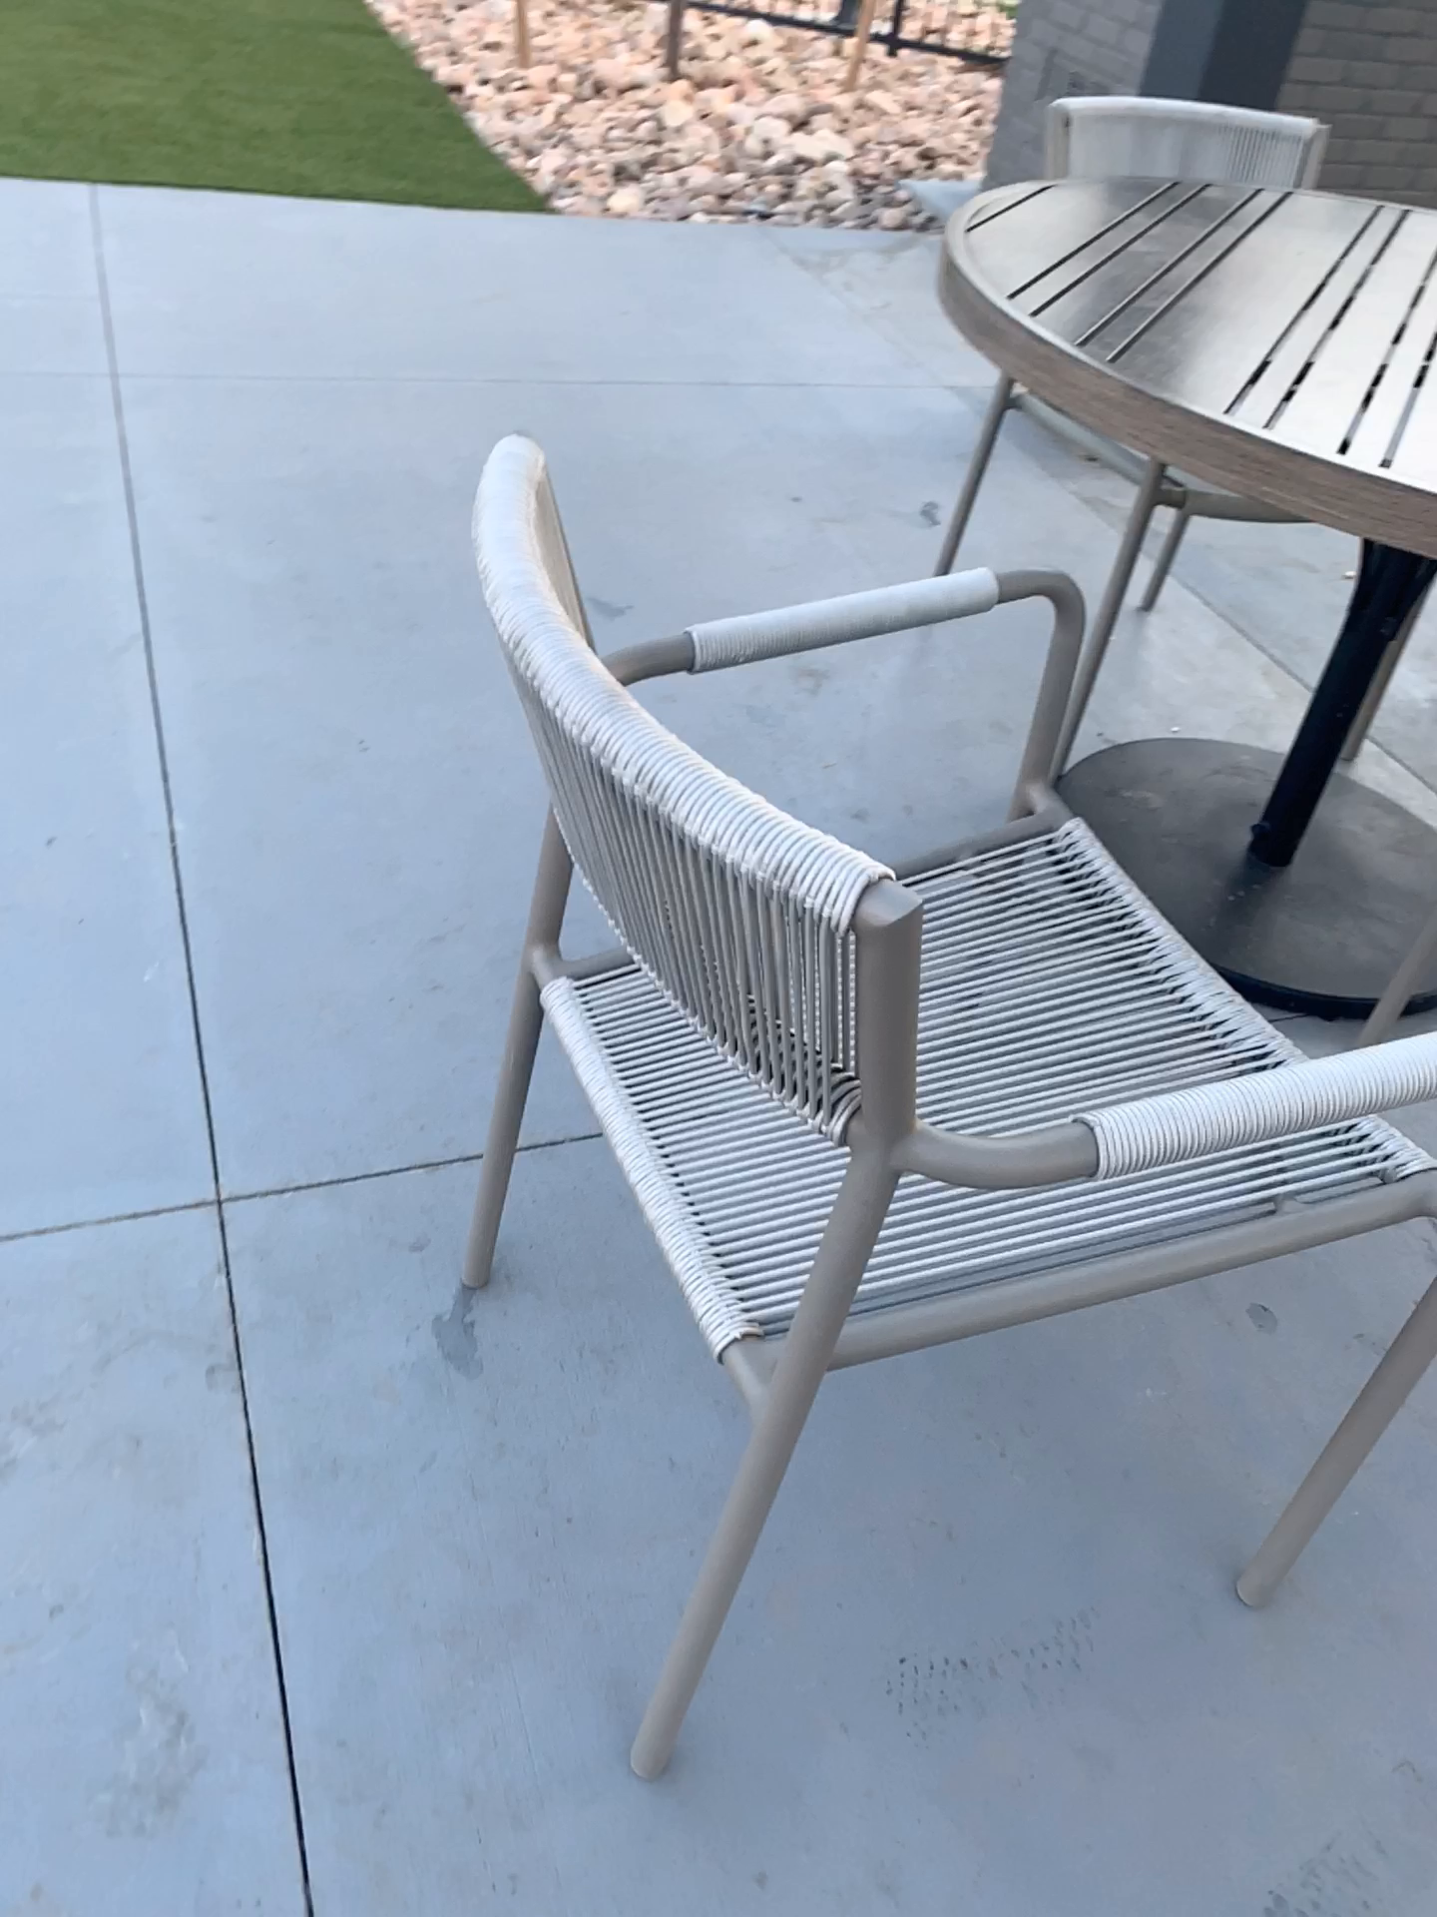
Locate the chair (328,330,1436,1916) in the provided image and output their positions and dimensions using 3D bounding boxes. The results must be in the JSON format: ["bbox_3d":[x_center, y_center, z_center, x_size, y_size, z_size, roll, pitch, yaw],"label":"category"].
[{"bbox_3d":[0.123,0.066,1.054,0.601,0.766,0.672,-12,44,-23],"label":"chair"}]
